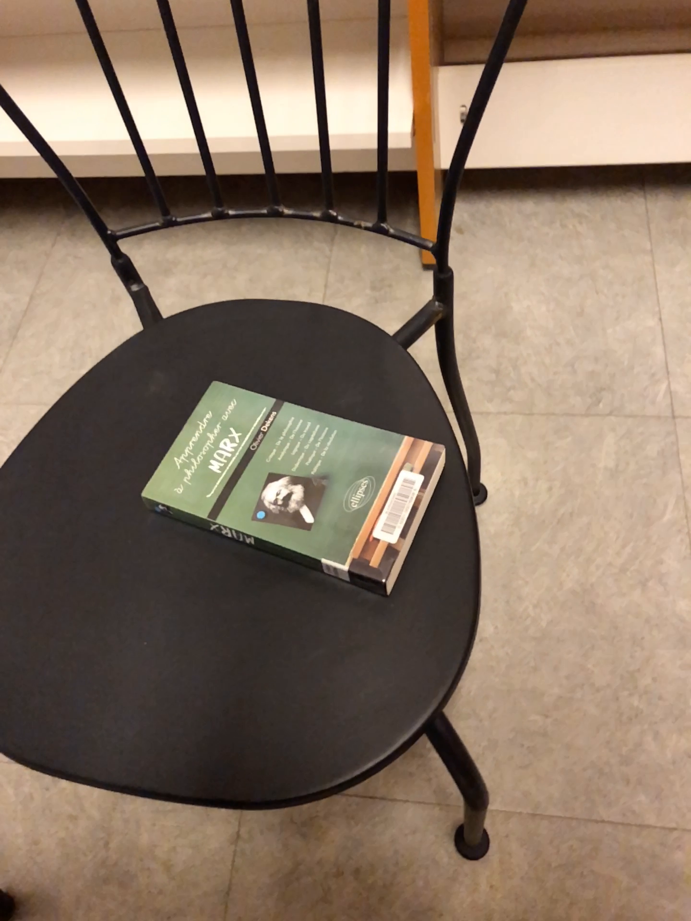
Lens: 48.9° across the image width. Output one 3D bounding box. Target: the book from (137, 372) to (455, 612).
[{"bbox_3d":[-0.031,0.014,0.500,0.177,0.024,0.110,19,64,18],"label":"book"}]
